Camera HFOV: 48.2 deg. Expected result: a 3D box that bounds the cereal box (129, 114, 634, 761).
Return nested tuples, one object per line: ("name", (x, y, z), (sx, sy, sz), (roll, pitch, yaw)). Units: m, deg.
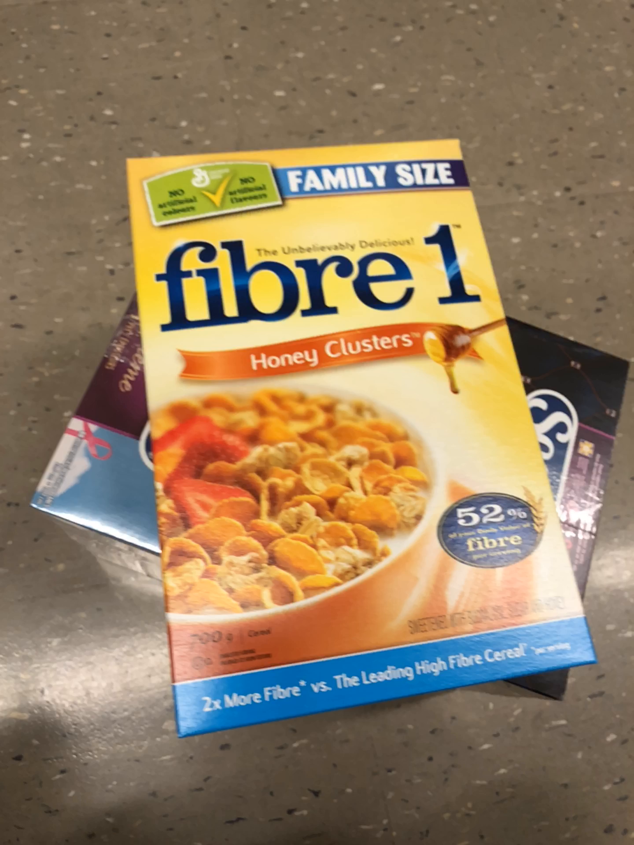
("cereal box", (0.016, -0.010, 0.392), (0.200, 0.080, 0.320), (-7, 70, -9))
